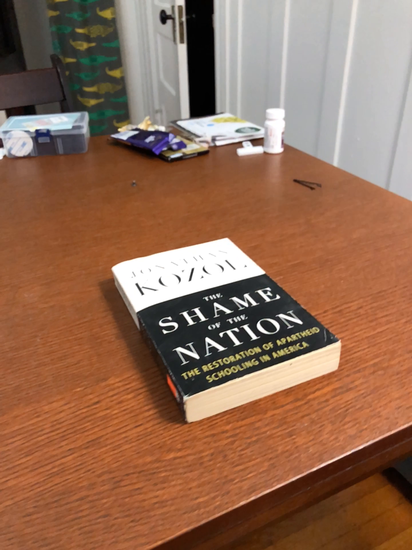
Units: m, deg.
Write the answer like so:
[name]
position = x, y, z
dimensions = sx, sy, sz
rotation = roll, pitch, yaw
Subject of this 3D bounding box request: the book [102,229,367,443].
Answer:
[book]
position = 0.009, 0.033, 0.435
dimensions = 0.160, 0.030, 0.231
rotation = -14, 34, -19
